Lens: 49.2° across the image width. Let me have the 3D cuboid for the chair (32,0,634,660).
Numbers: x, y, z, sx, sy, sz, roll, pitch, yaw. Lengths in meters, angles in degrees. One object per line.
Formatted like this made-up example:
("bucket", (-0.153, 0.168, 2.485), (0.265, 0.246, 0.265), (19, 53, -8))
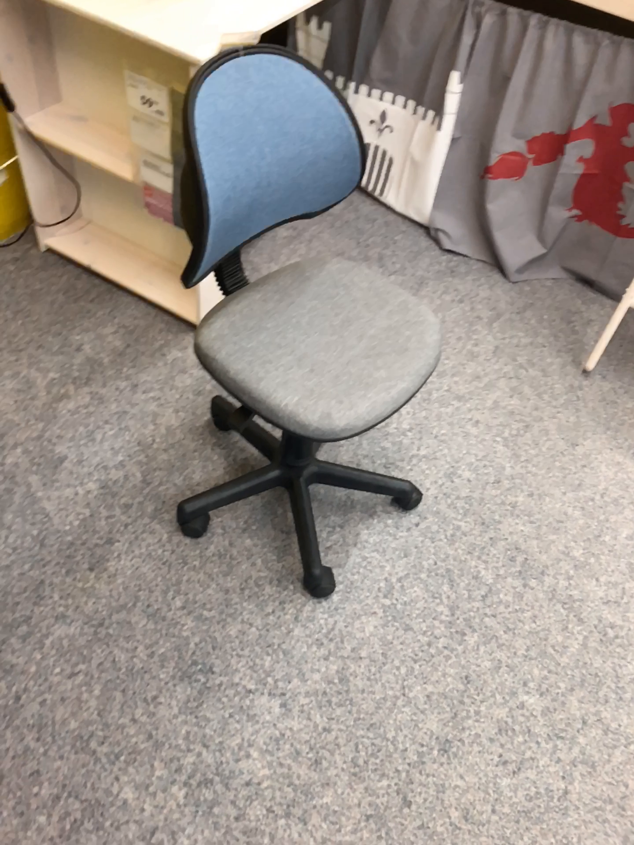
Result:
("chair", (0.033, -0.152, 1.155), (0.560, 0.746, 0.604), (33, 53, 18))
